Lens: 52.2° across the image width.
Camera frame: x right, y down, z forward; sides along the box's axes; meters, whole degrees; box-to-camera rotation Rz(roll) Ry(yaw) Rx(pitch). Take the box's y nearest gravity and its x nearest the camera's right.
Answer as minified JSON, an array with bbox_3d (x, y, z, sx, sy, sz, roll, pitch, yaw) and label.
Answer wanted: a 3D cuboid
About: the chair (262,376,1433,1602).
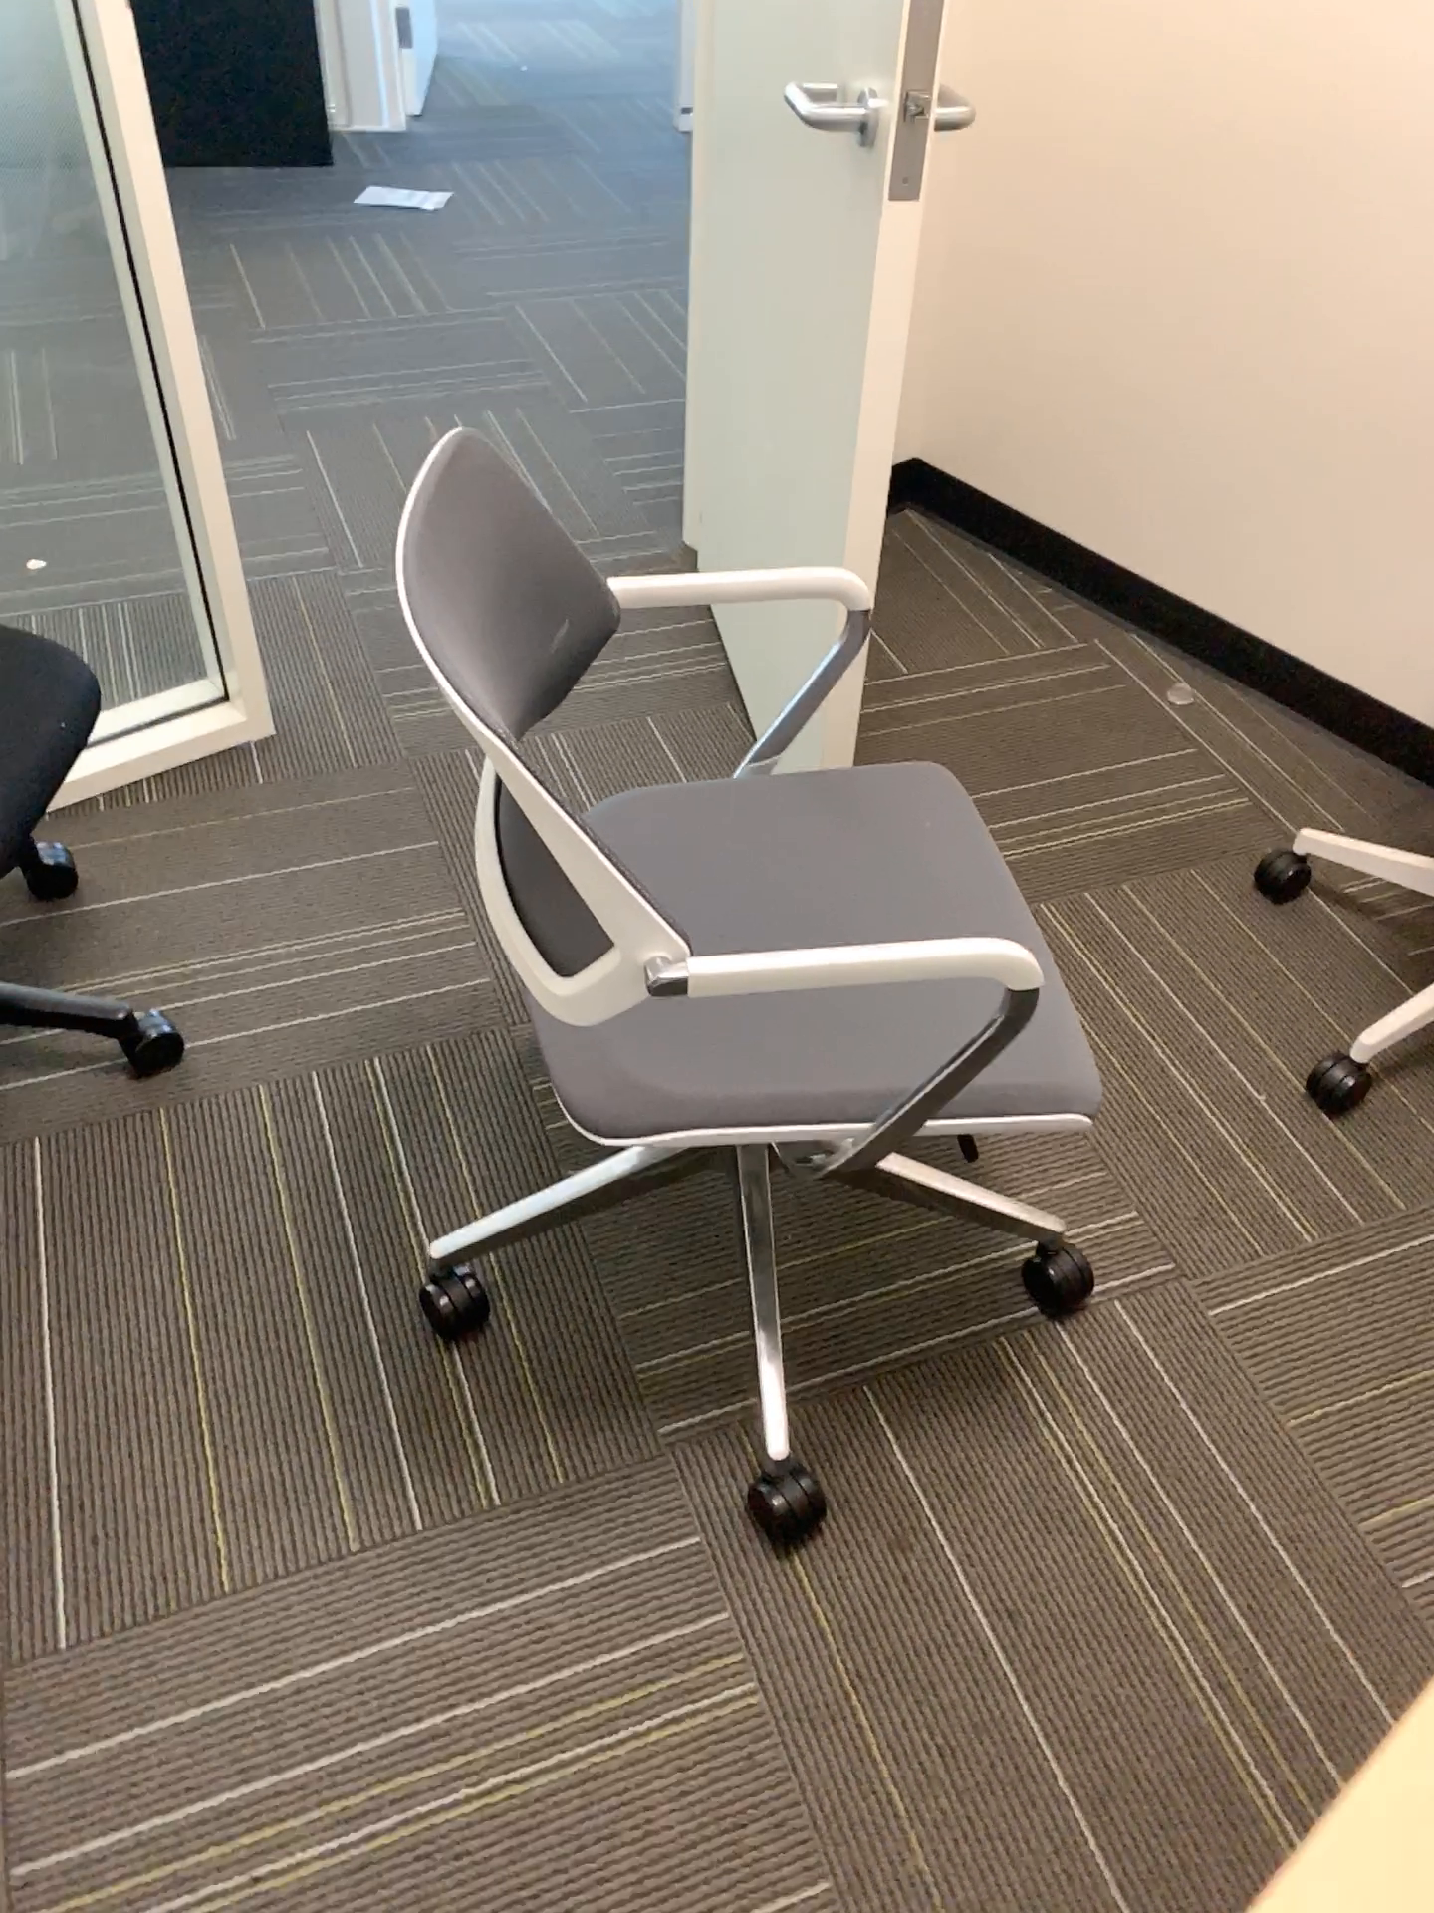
[{"bbox_3d":[0.049,-0.001,1.380,0.730,0.766,0.804,-3,43,-7],"label":"chair"}]
